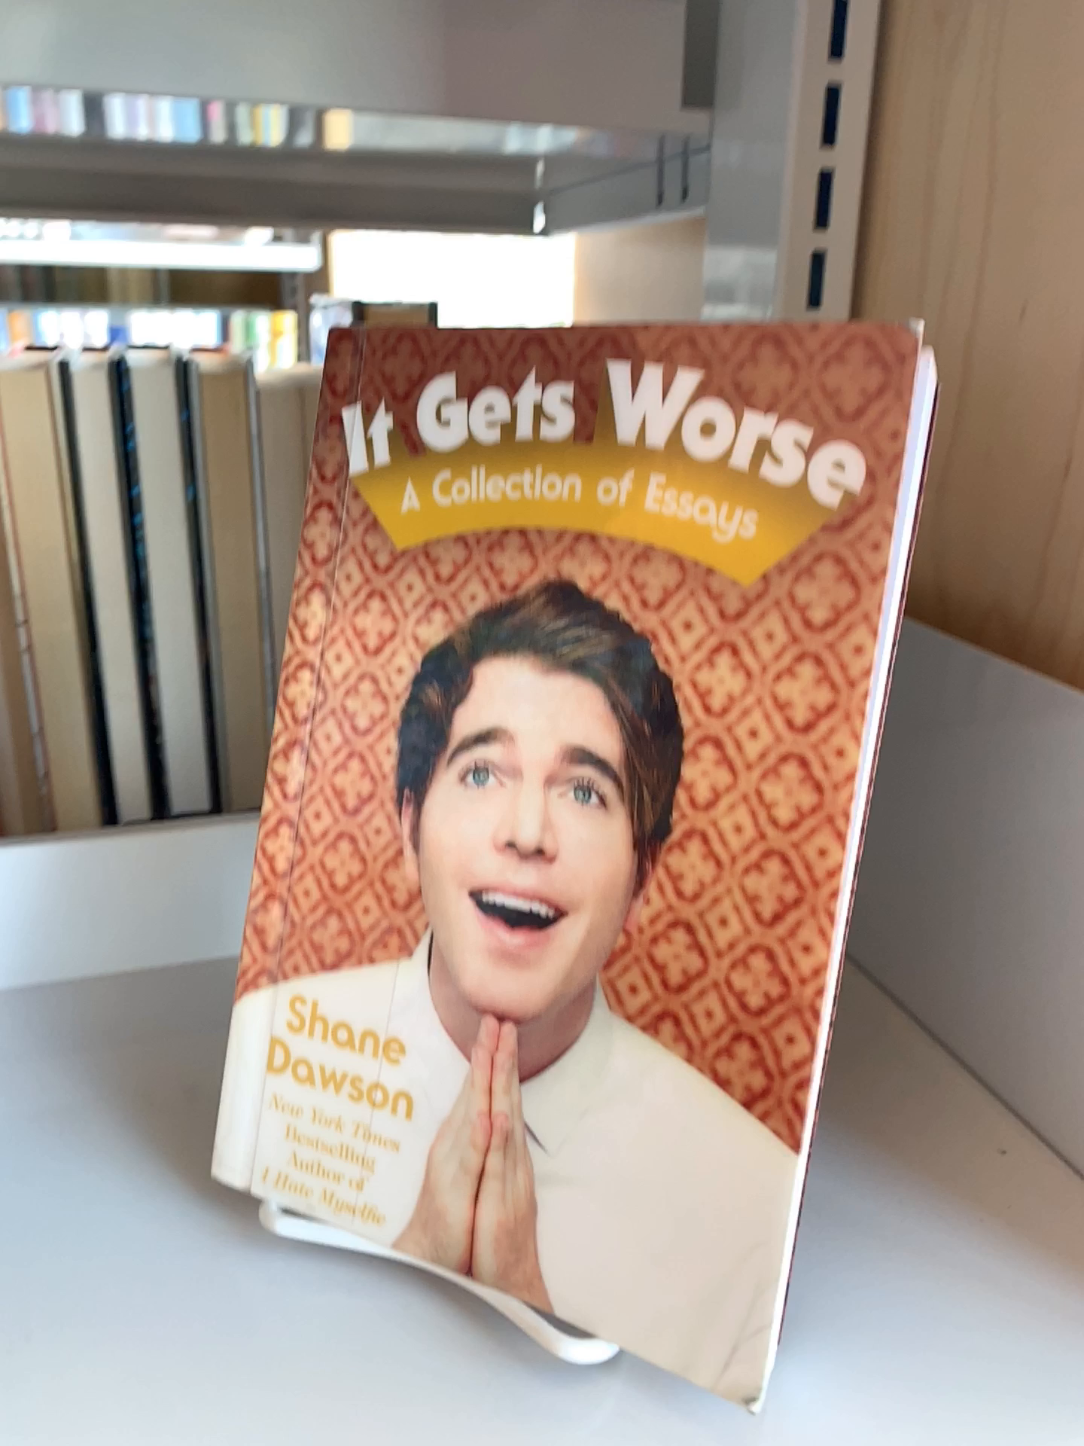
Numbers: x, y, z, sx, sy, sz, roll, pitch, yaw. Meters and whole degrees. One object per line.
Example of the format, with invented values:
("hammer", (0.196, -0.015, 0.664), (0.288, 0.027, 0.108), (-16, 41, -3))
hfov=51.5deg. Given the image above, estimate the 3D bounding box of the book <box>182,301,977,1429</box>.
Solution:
("book", (-0.001, 0.019, 0.249), (0.149, 0.210, 0.030), (10, 6, 23))
